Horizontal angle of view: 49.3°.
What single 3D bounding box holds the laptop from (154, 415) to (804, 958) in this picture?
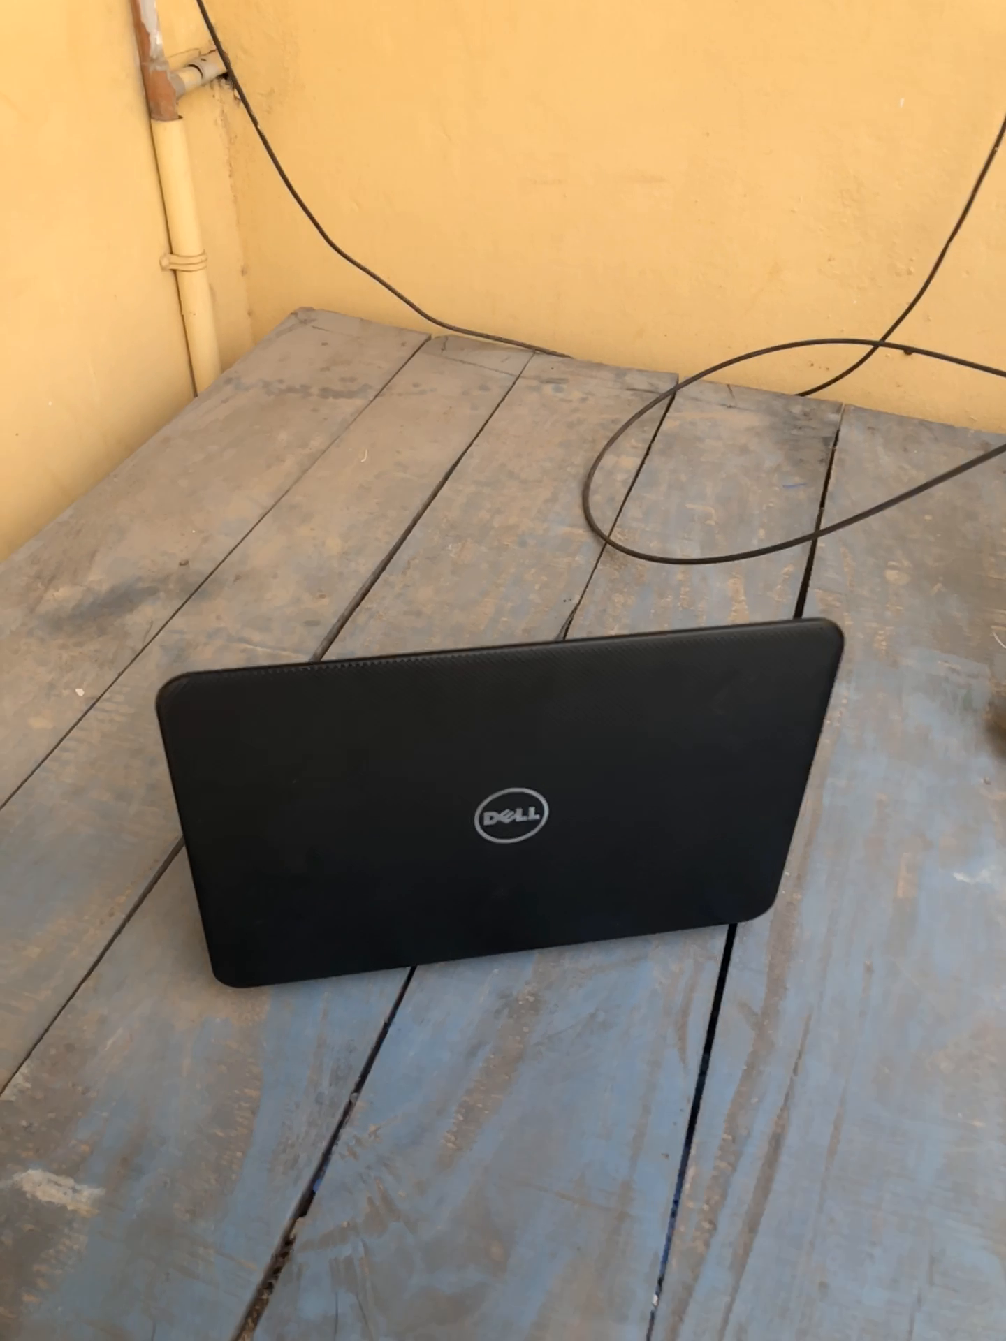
[{"bbox_3d":[-0.021,0.003,0.726,0.340,0.234,0.226,-5,41,-8],"label":"laptop"}]
